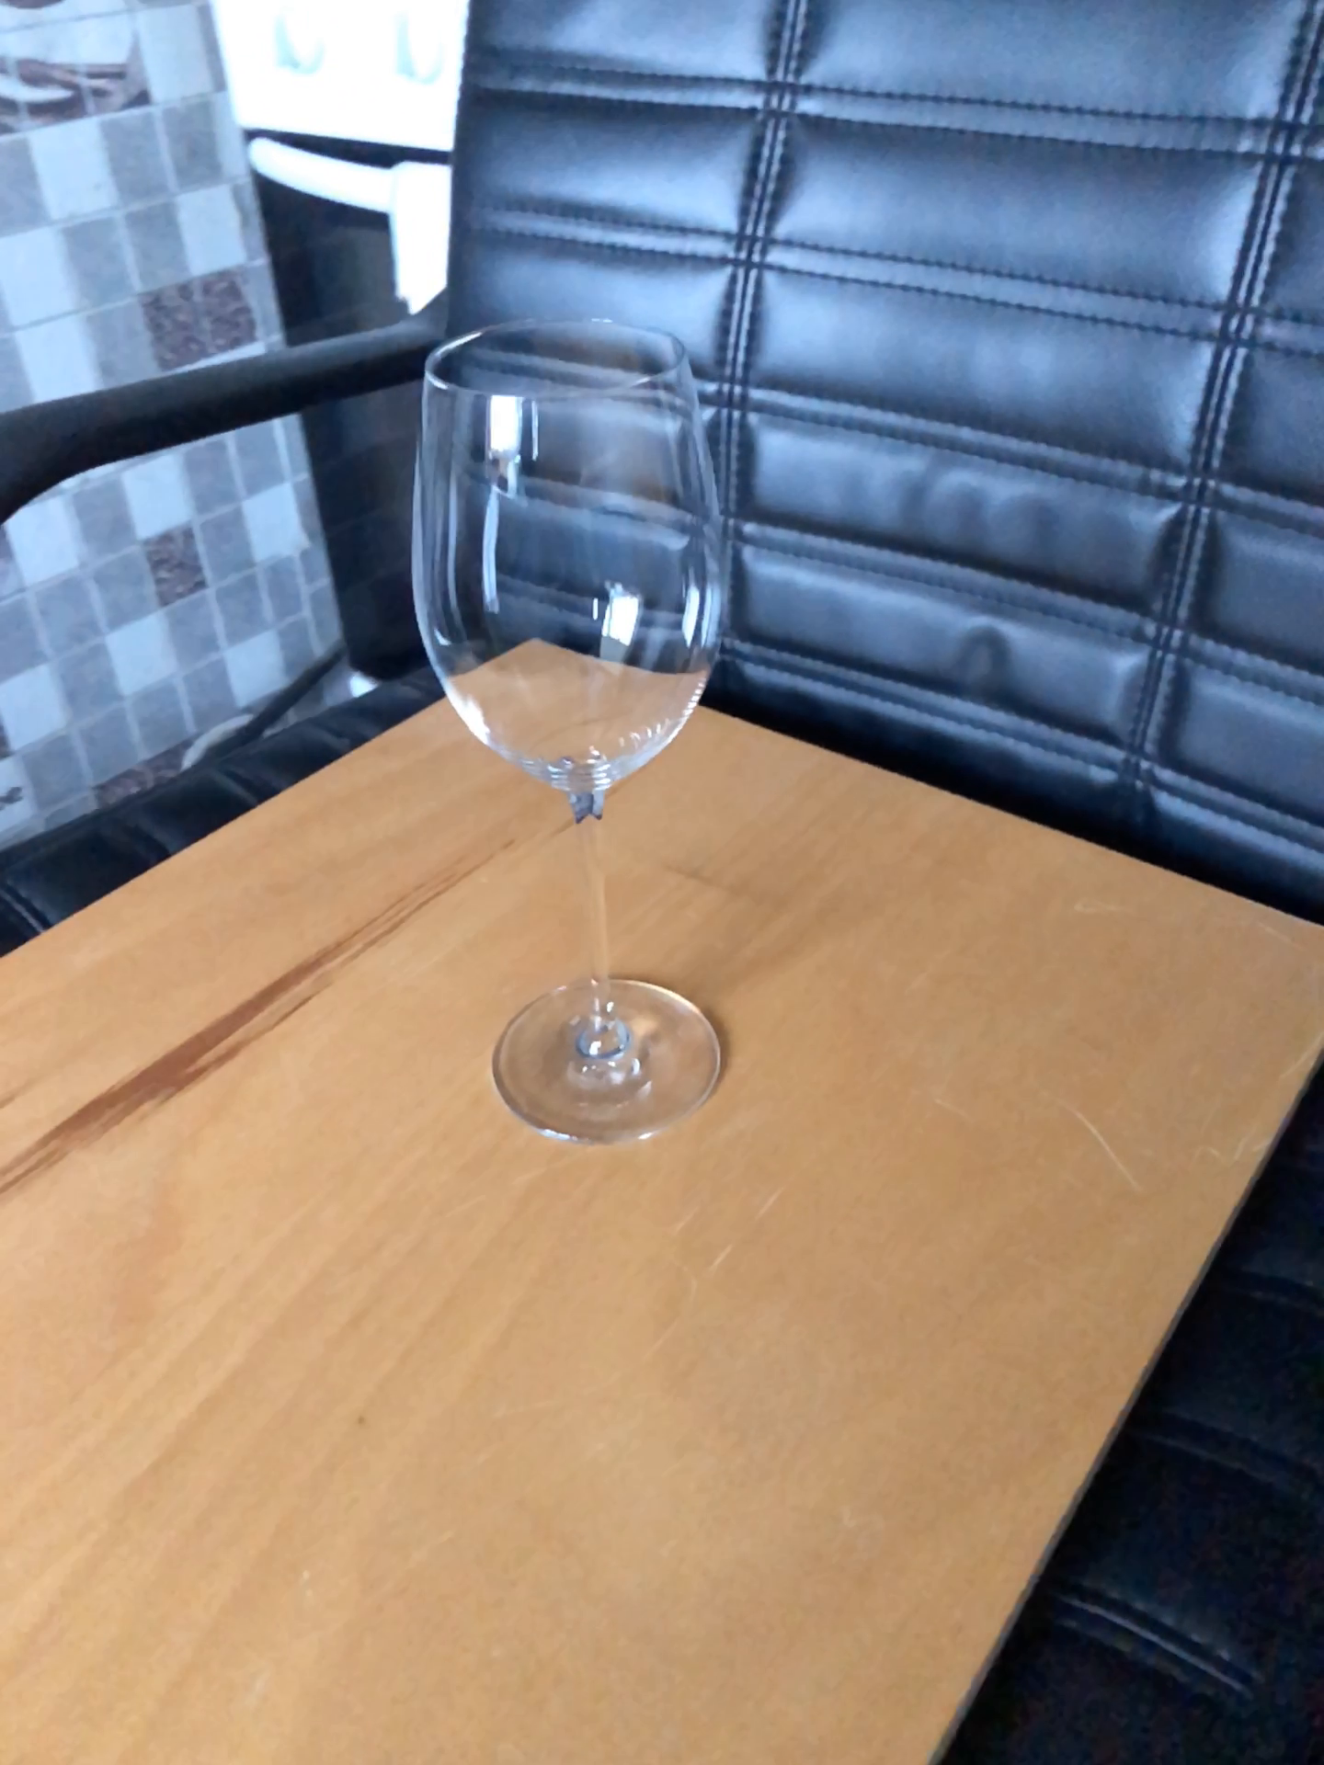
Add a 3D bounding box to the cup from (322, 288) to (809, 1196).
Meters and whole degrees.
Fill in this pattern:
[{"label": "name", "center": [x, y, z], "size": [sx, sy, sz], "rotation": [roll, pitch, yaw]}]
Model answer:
[{"label": "cup", "center": [-0.021, -0.033, 0.401], "size": [0.089, 0.218, 0.090], "rotation": [-2, 36, 2]}]
